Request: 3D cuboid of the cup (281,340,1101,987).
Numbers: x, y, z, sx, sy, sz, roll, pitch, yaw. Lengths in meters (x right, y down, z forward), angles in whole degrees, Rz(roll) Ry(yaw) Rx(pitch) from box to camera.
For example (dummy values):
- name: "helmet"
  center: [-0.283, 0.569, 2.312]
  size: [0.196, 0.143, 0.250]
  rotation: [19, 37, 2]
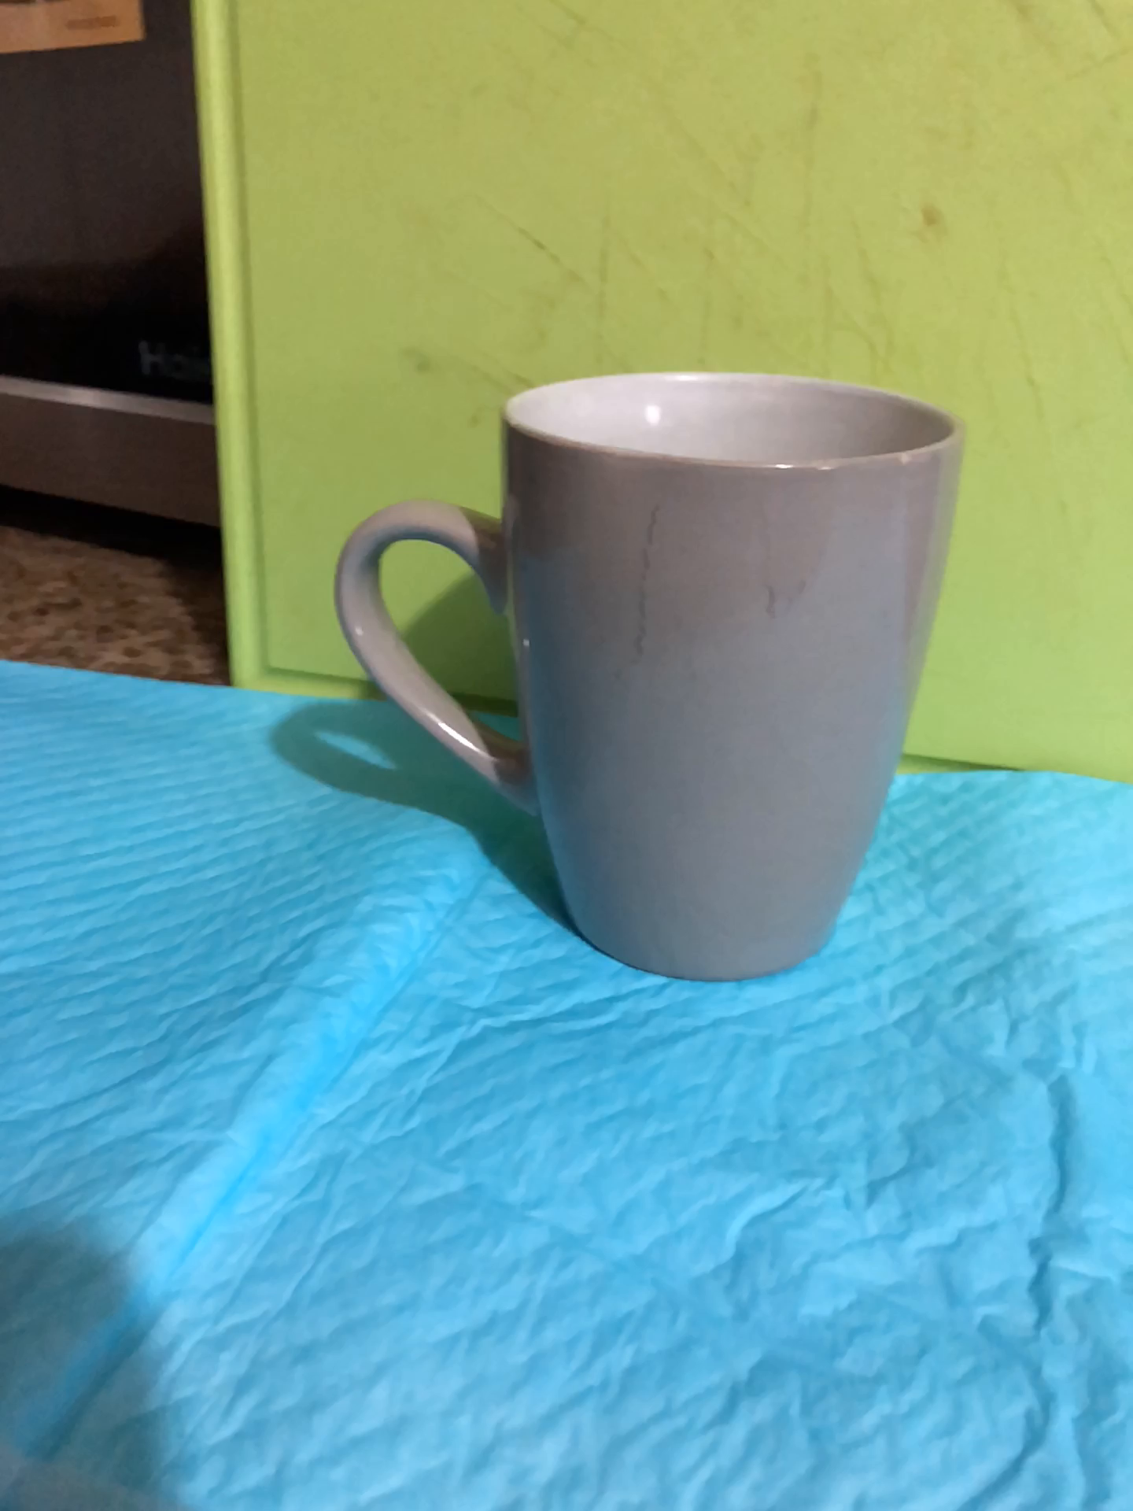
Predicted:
- name: "cup"
  center: [0.015, -0.019, 0.220]
  size: [0.110, 0.090, 0.070]
  rotation: [2, 25, -1]
